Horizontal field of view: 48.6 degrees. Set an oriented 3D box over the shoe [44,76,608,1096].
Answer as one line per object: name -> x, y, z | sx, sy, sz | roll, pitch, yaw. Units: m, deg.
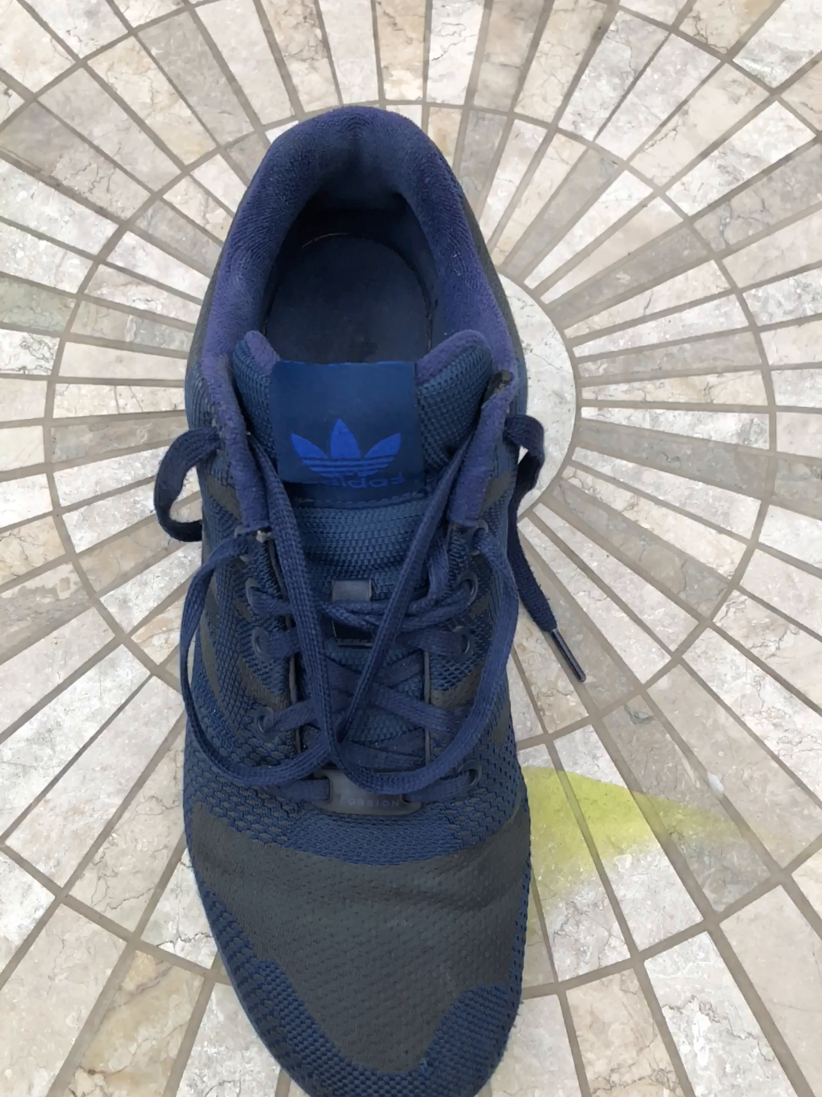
shoe -> -0.019, 0.019, 0.268 | 0.110, 0.110, 0.280 | -1, 74, -1
